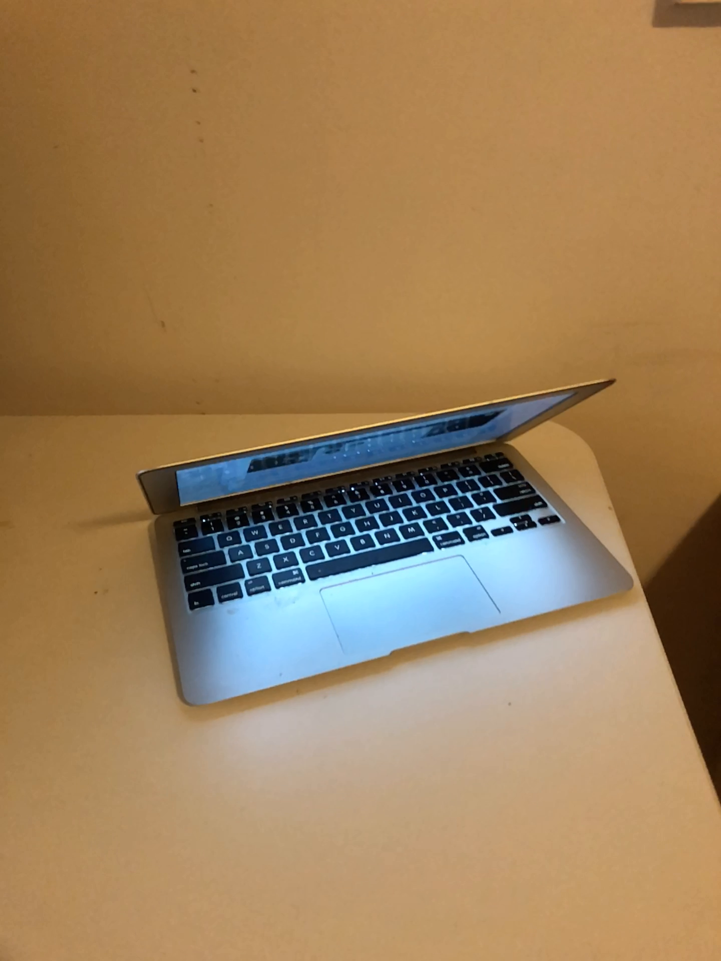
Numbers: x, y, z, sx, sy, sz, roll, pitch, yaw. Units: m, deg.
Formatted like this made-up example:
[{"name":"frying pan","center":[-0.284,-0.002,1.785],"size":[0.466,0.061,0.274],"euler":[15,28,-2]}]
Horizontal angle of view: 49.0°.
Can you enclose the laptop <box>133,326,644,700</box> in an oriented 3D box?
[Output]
[{"name":"laptop","center":[0.011,0.001,0.529],"size":[0.285,0.108,0.182],"euler":[-11,35,-17]}]
